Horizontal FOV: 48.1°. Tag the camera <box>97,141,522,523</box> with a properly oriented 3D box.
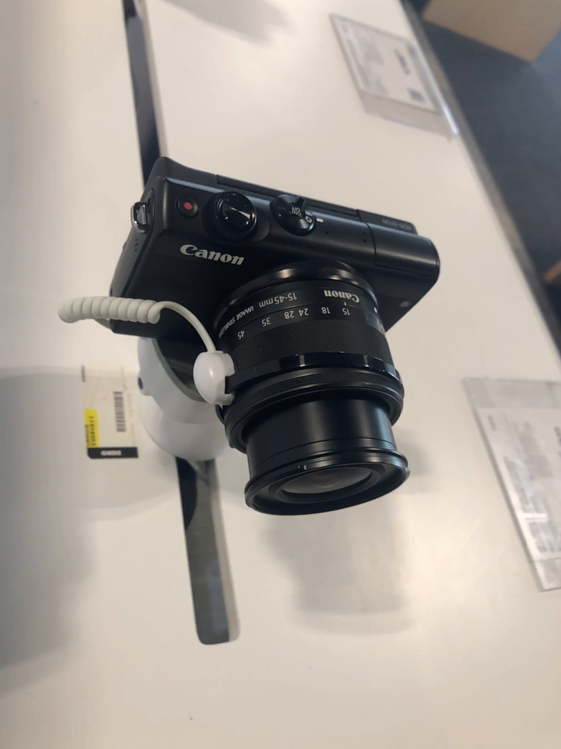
[{"bbox_3d":[0.001,-0.006,0.213,0.110,0.072,0.091,6,58,-26],"label":"camera"}]
